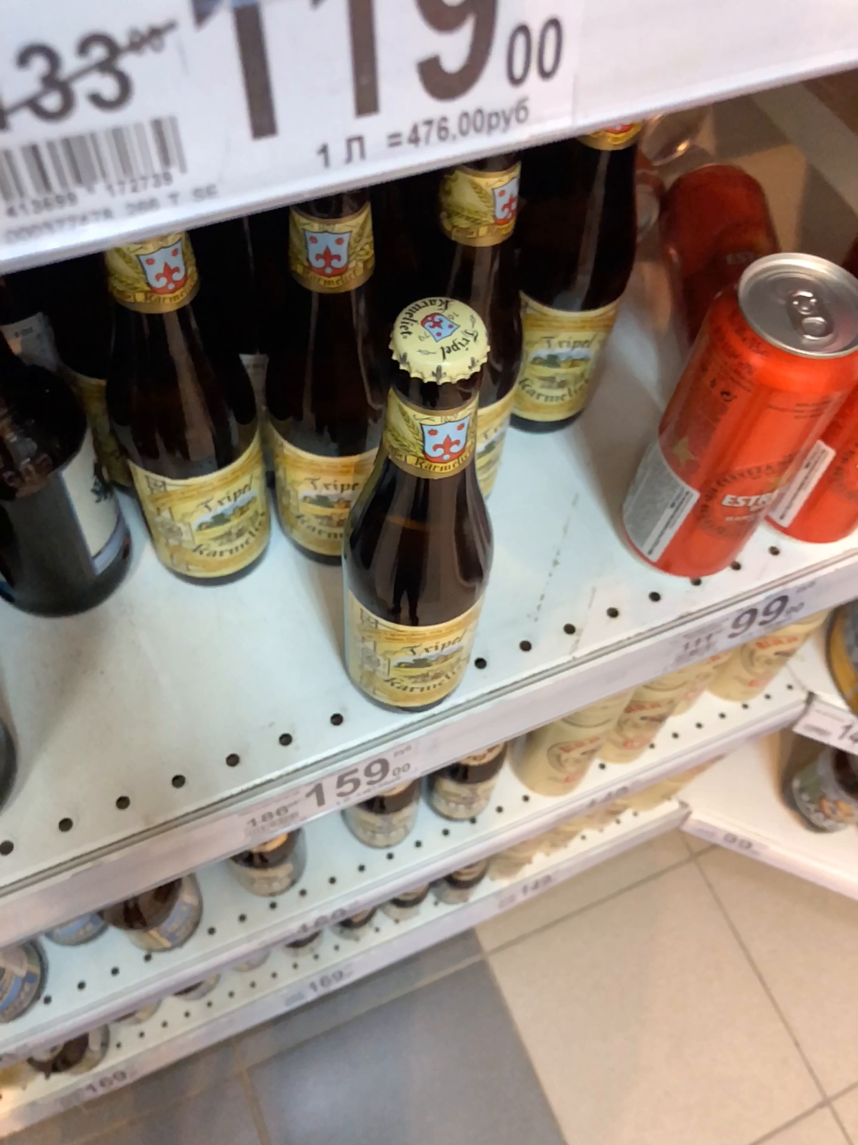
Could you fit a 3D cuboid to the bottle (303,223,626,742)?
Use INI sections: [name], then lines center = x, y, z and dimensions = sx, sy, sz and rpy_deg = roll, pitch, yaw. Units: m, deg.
[bottle]
center = 0.000, -0.015, 0.362
dimensions = 0.070, 0.219, 0.070
rpy_deg = 2, 61, -4
